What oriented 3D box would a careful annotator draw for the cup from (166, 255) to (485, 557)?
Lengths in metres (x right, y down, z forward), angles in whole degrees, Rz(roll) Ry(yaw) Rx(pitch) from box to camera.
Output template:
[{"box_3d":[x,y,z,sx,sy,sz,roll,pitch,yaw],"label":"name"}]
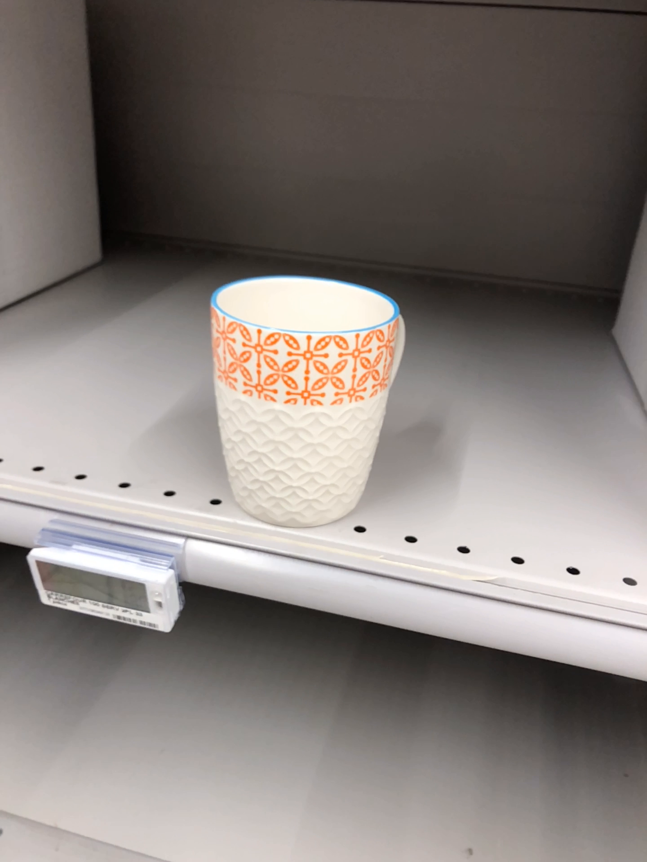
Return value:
[{"box_3d":[0.001,-0.022,0.352,0.091,0.095,0.118,26,34,37],"label":"cup"}]
